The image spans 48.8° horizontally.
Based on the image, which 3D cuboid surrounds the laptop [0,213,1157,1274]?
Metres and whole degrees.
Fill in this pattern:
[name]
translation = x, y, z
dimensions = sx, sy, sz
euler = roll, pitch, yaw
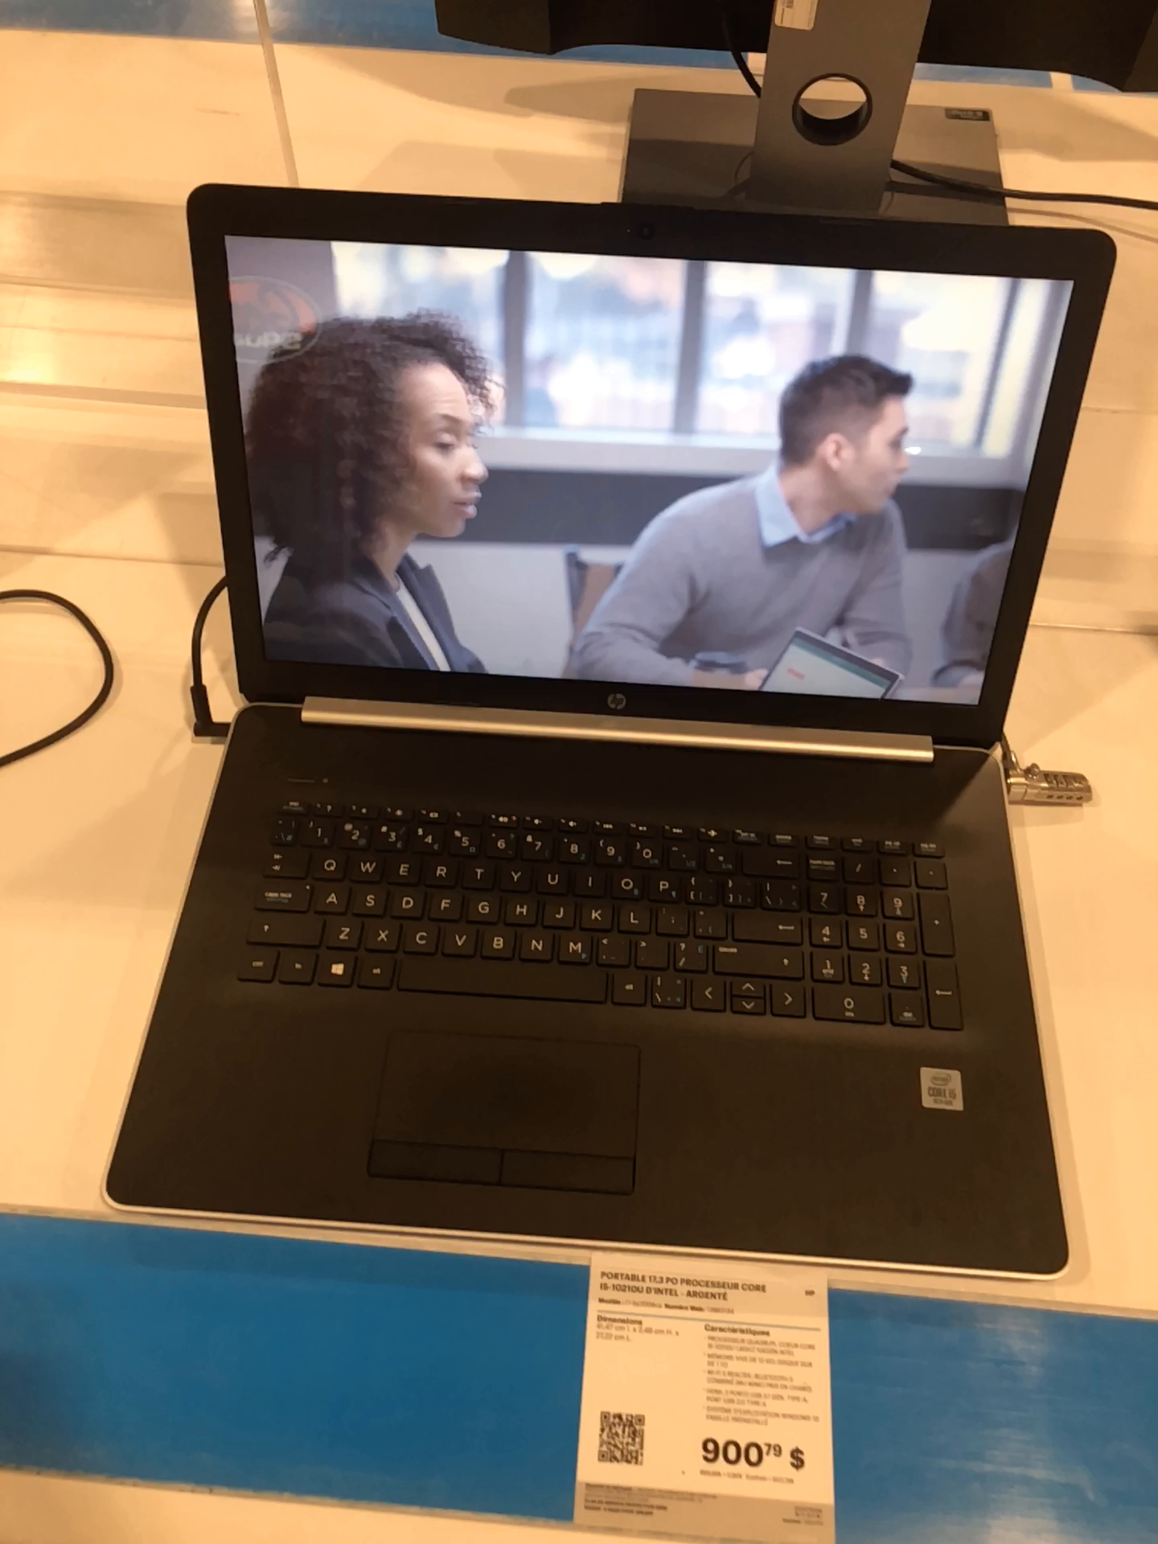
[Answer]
[laptop]
translation = 0.013, -0.022, 0.563
dimensions = 0.410, 0.243, 0.381
euler = 4, 54, 2
